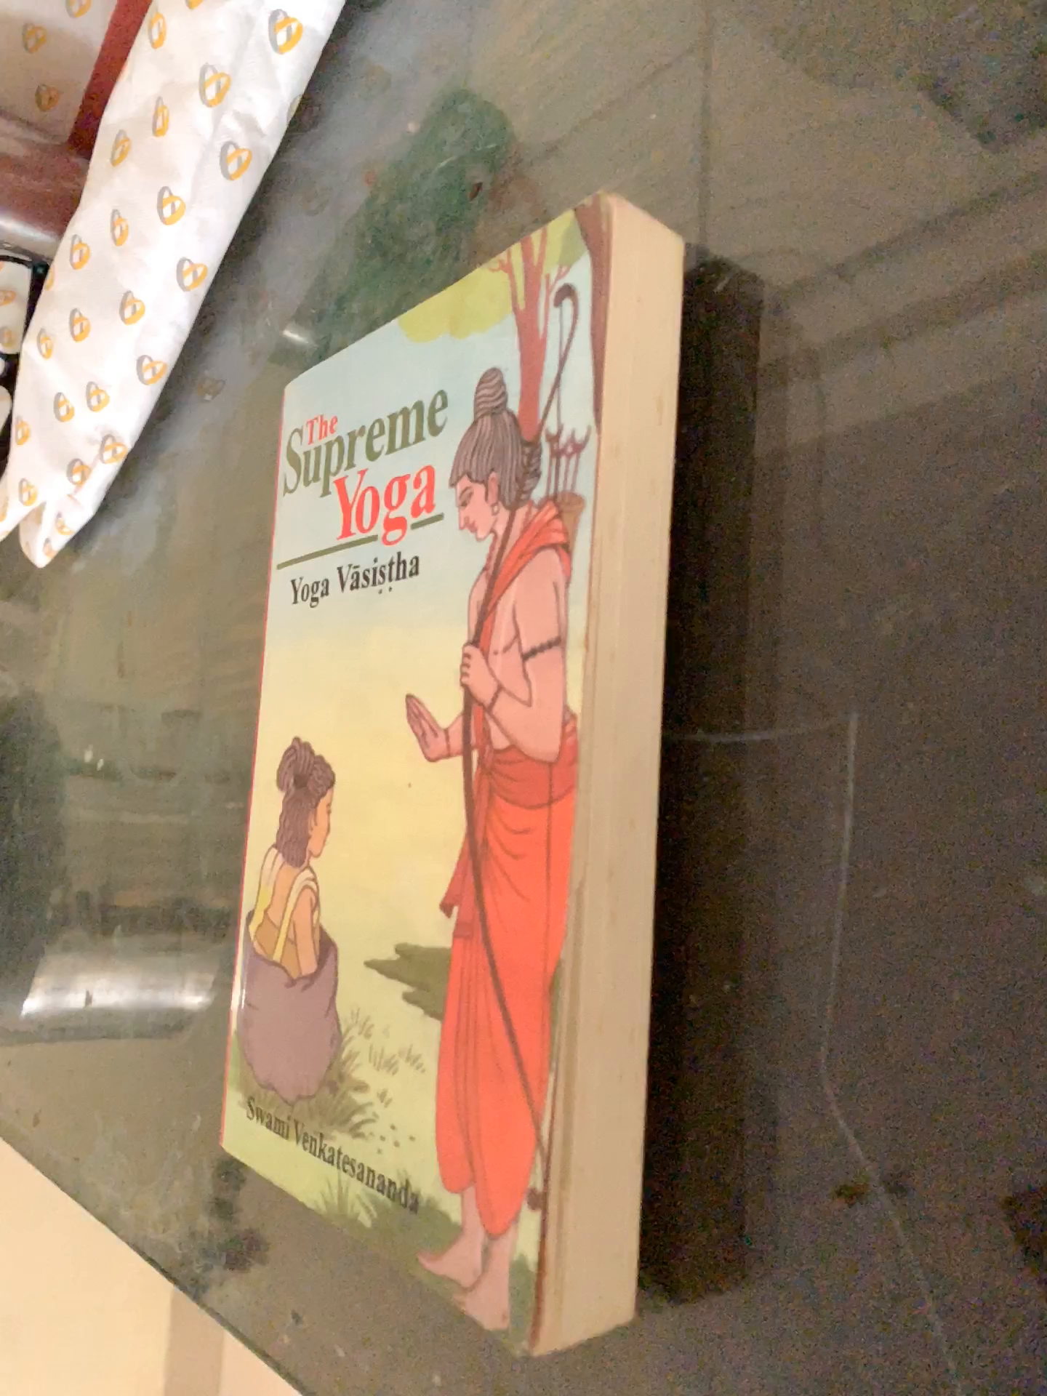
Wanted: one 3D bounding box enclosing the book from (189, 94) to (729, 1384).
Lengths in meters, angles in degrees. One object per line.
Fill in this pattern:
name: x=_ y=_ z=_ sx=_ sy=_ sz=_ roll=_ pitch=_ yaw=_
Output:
book: x=-0.022 y=0.005 z=0.239 sx=0.141 sy=0.030 sz=0.210 roll=-7 pitch=77 yaw=51
